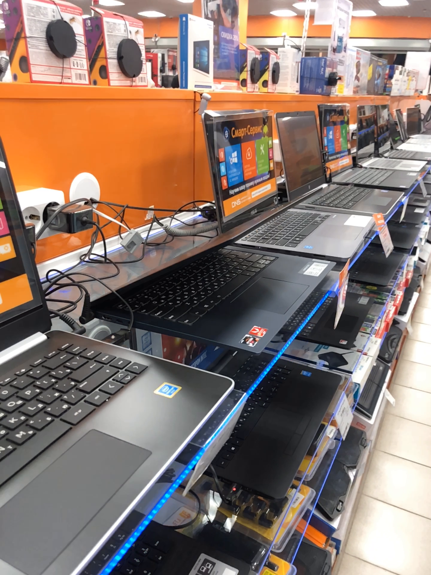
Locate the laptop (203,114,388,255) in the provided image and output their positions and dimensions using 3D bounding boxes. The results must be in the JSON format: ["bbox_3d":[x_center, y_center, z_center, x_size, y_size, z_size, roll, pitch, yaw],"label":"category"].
[{"bbox_3d":[0.164,-0.218,0.905,0.257,0.203,0.332,10,23,21],"label":"laptop"}]

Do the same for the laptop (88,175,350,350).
[{"bbox_3d":[0.025,-0.058,0.607,0.203,0.108,0.303,12,25,26],"label":"laptop"}]

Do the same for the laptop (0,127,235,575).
[{"bbox_3d":[-0.164,0.015,0.301,0.250,0.200,0.303,12,24,25],"label":"laptop"}]

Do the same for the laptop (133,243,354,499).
[{"bbox_3d":[0.065,0.106,0.842,0.258,0.227,0.356,14,26,24],"label":"laptop"}]
